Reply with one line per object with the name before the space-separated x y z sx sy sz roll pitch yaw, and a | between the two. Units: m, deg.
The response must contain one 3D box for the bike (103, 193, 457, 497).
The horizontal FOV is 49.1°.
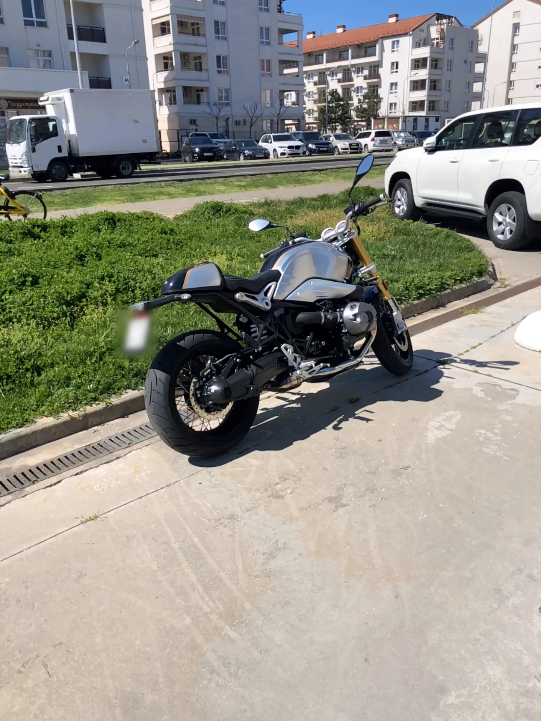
bike | 0.224 -0.271 3.335 0.648 1.123 2.073 16 26 39
